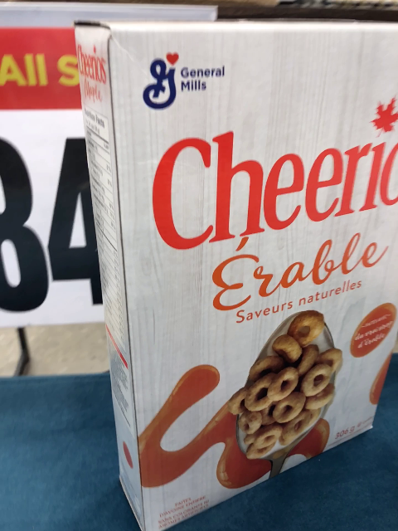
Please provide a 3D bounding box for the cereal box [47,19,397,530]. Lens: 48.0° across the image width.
[{"bbox_3d":[0.045,0.011,0.261,0.210,0.269,0.060,-14,31,-25],"label":"cereal box"}]
